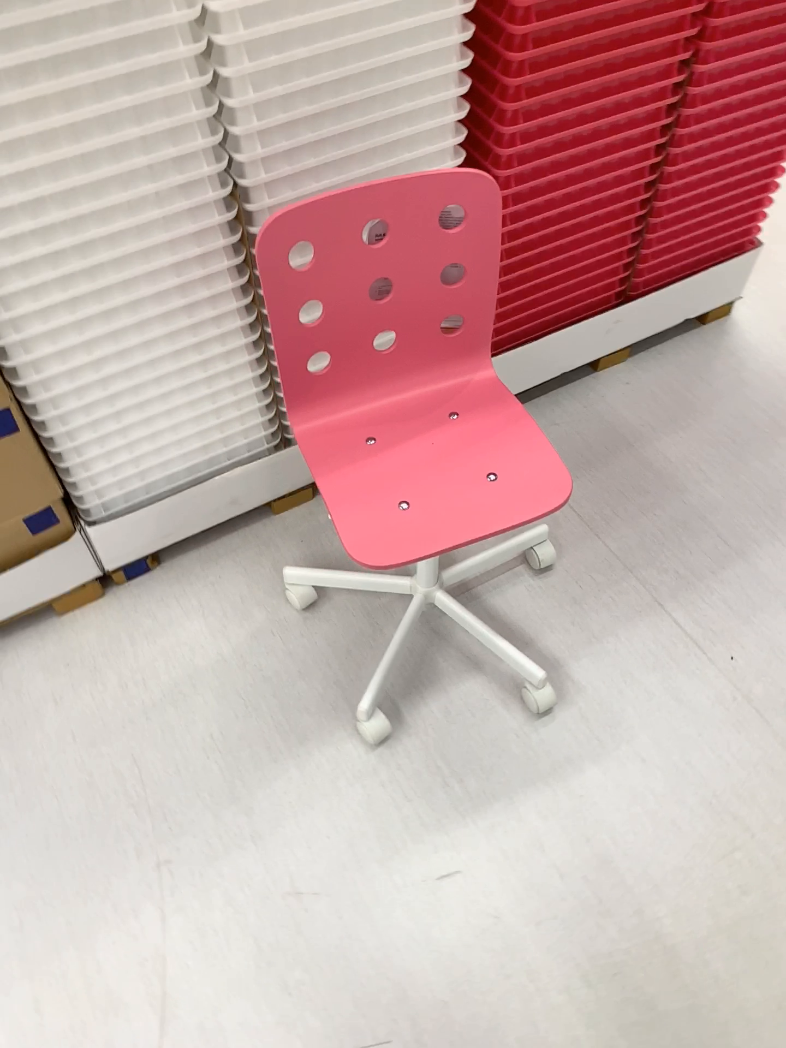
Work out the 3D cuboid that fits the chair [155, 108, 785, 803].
[{"bbox_3d":[0.073,-0.074,1.198,0.550,0.708,0.582,-20,56,-13],"label":"chair"}]
